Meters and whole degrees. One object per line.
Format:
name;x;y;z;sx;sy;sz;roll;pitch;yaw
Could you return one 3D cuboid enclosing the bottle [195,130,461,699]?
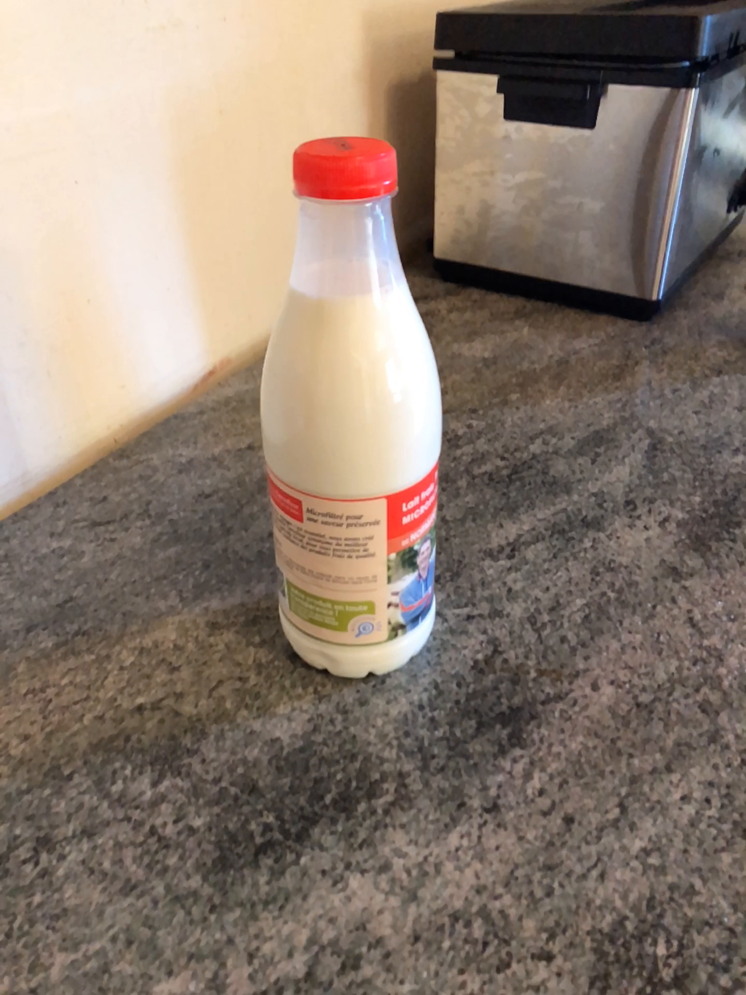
bottle;-0.010;-0.031;0.389;0.080;0.248;0.091;8;35;14
